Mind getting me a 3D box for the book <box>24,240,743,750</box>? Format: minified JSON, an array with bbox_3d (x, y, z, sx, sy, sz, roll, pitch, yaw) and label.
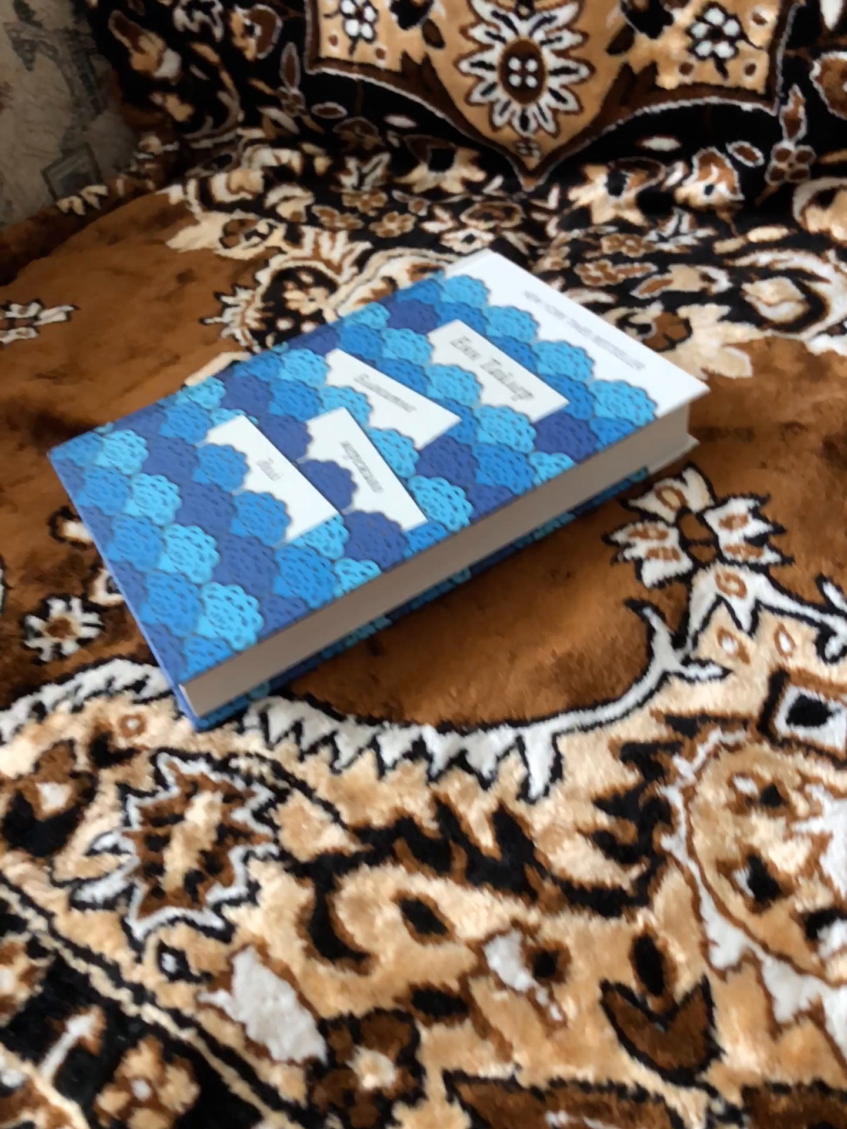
[{"bbox_3d":[-0.019,-0.048,0.371,0.233,0.030,0.155,-28,49,-18],"label":"book"}]
